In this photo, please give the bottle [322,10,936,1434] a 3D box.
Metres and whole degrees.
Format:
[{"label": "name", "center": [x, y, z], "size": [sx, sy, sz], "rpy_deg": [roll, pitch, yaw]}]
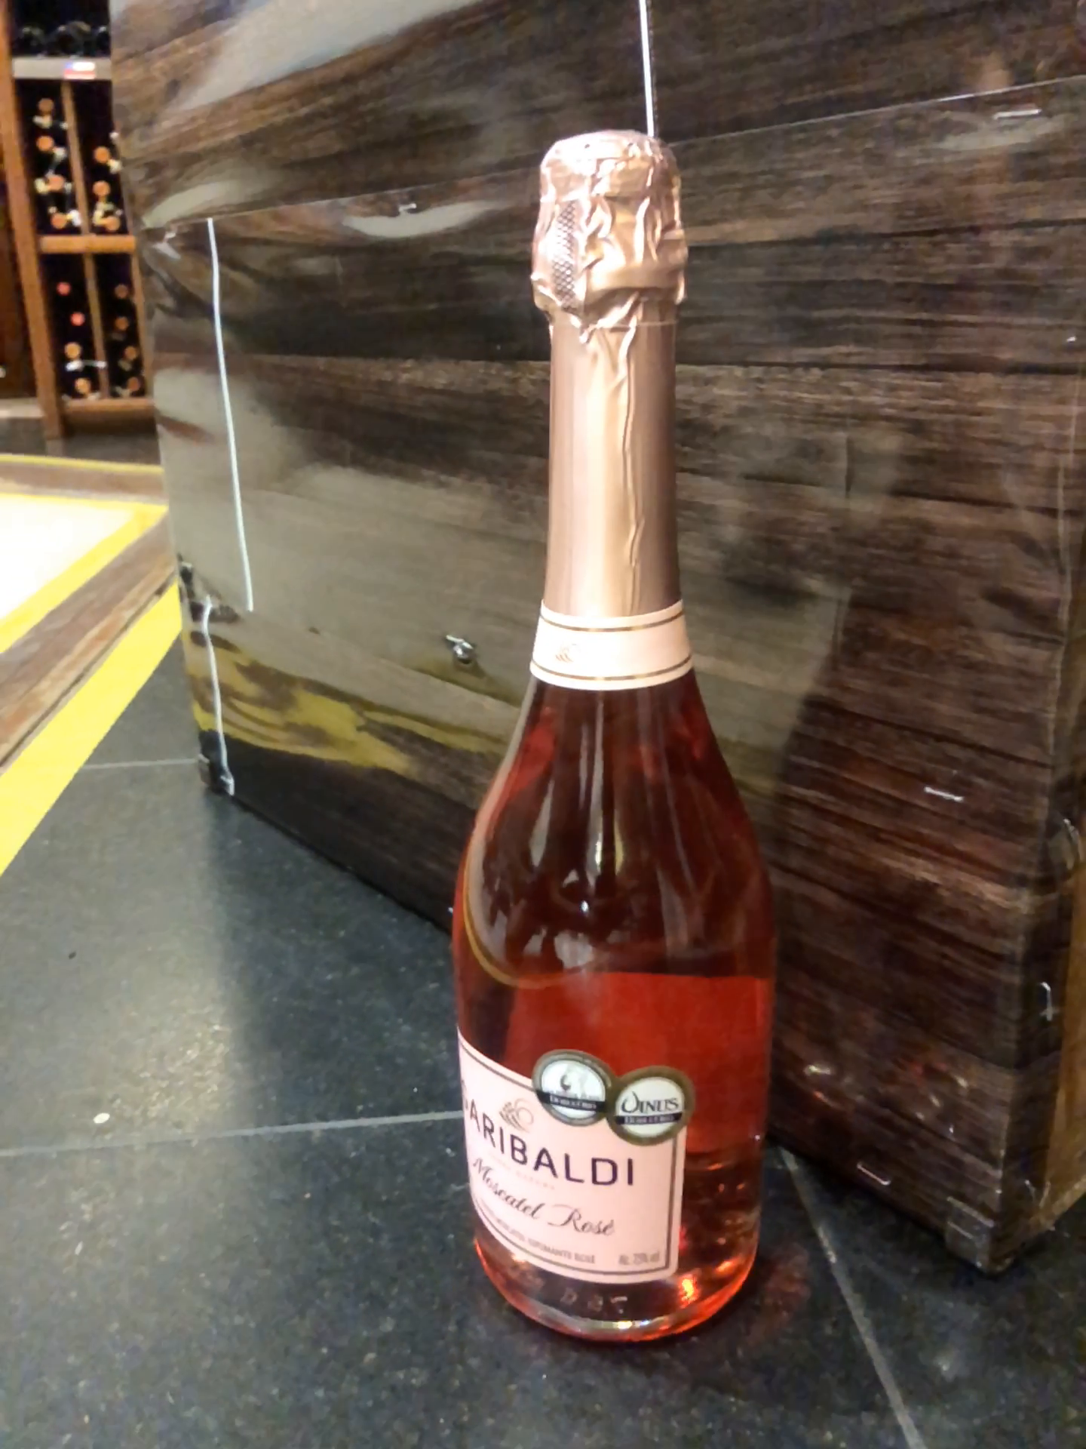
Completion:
[{"label": "bottle", "center": [0.025, 0.006, 0.342], "size": [0.110, 0.338, 0.100], "rpy_deg": [-1, 18, 0]}]
